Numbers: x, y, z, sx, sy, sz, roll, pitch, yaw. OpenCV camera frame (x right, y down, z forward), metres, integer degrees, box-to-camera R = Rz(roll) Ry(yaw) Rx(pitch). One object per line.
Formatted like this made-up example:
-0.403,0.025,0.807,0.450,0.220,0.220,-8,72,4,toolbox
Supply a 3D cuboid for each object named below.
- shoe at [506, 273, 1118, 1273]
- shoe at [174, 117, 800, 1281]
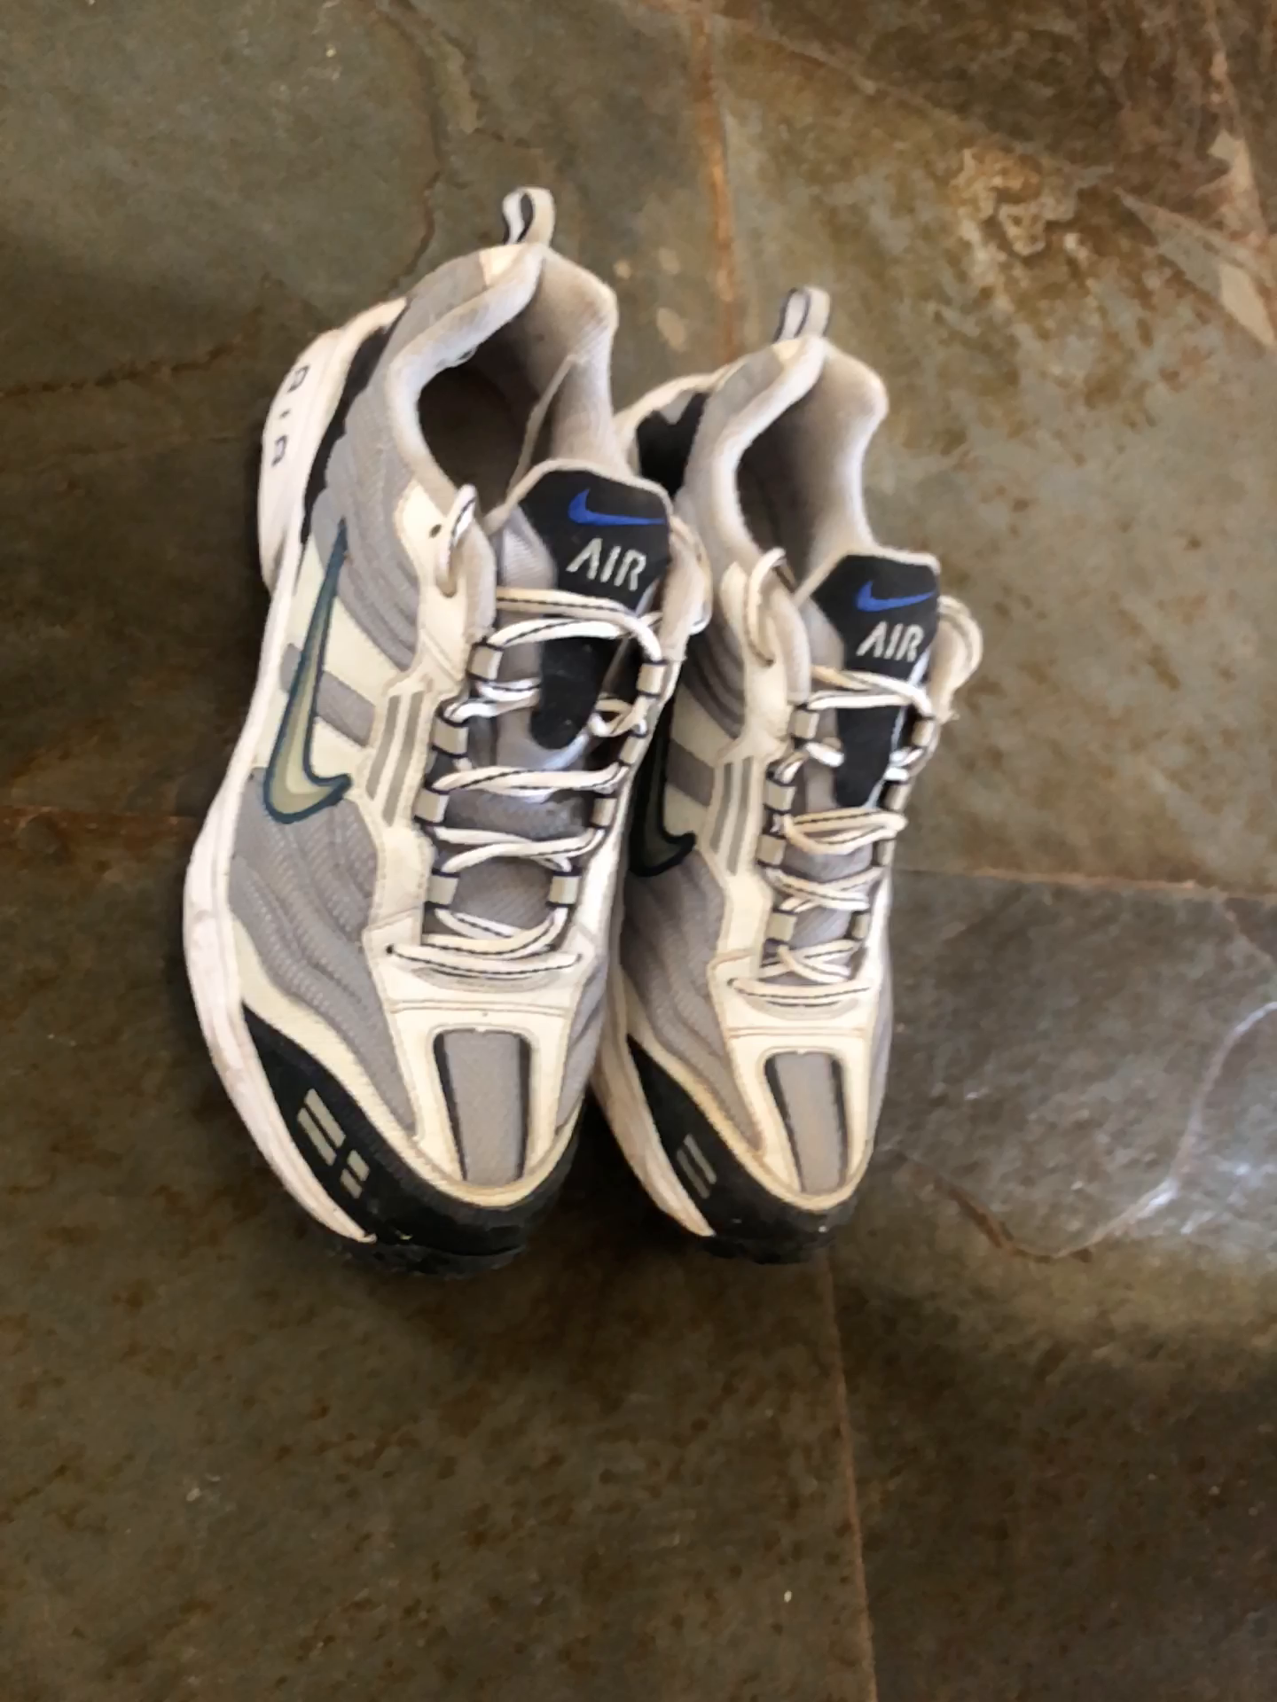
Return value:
0.041,-0.015,0.426,0.110,0.109,0.260,4,73,-31,shoe
-0.052,-0.028,0.375,0.110,0.119,0.260,4,73,-31,shoe
